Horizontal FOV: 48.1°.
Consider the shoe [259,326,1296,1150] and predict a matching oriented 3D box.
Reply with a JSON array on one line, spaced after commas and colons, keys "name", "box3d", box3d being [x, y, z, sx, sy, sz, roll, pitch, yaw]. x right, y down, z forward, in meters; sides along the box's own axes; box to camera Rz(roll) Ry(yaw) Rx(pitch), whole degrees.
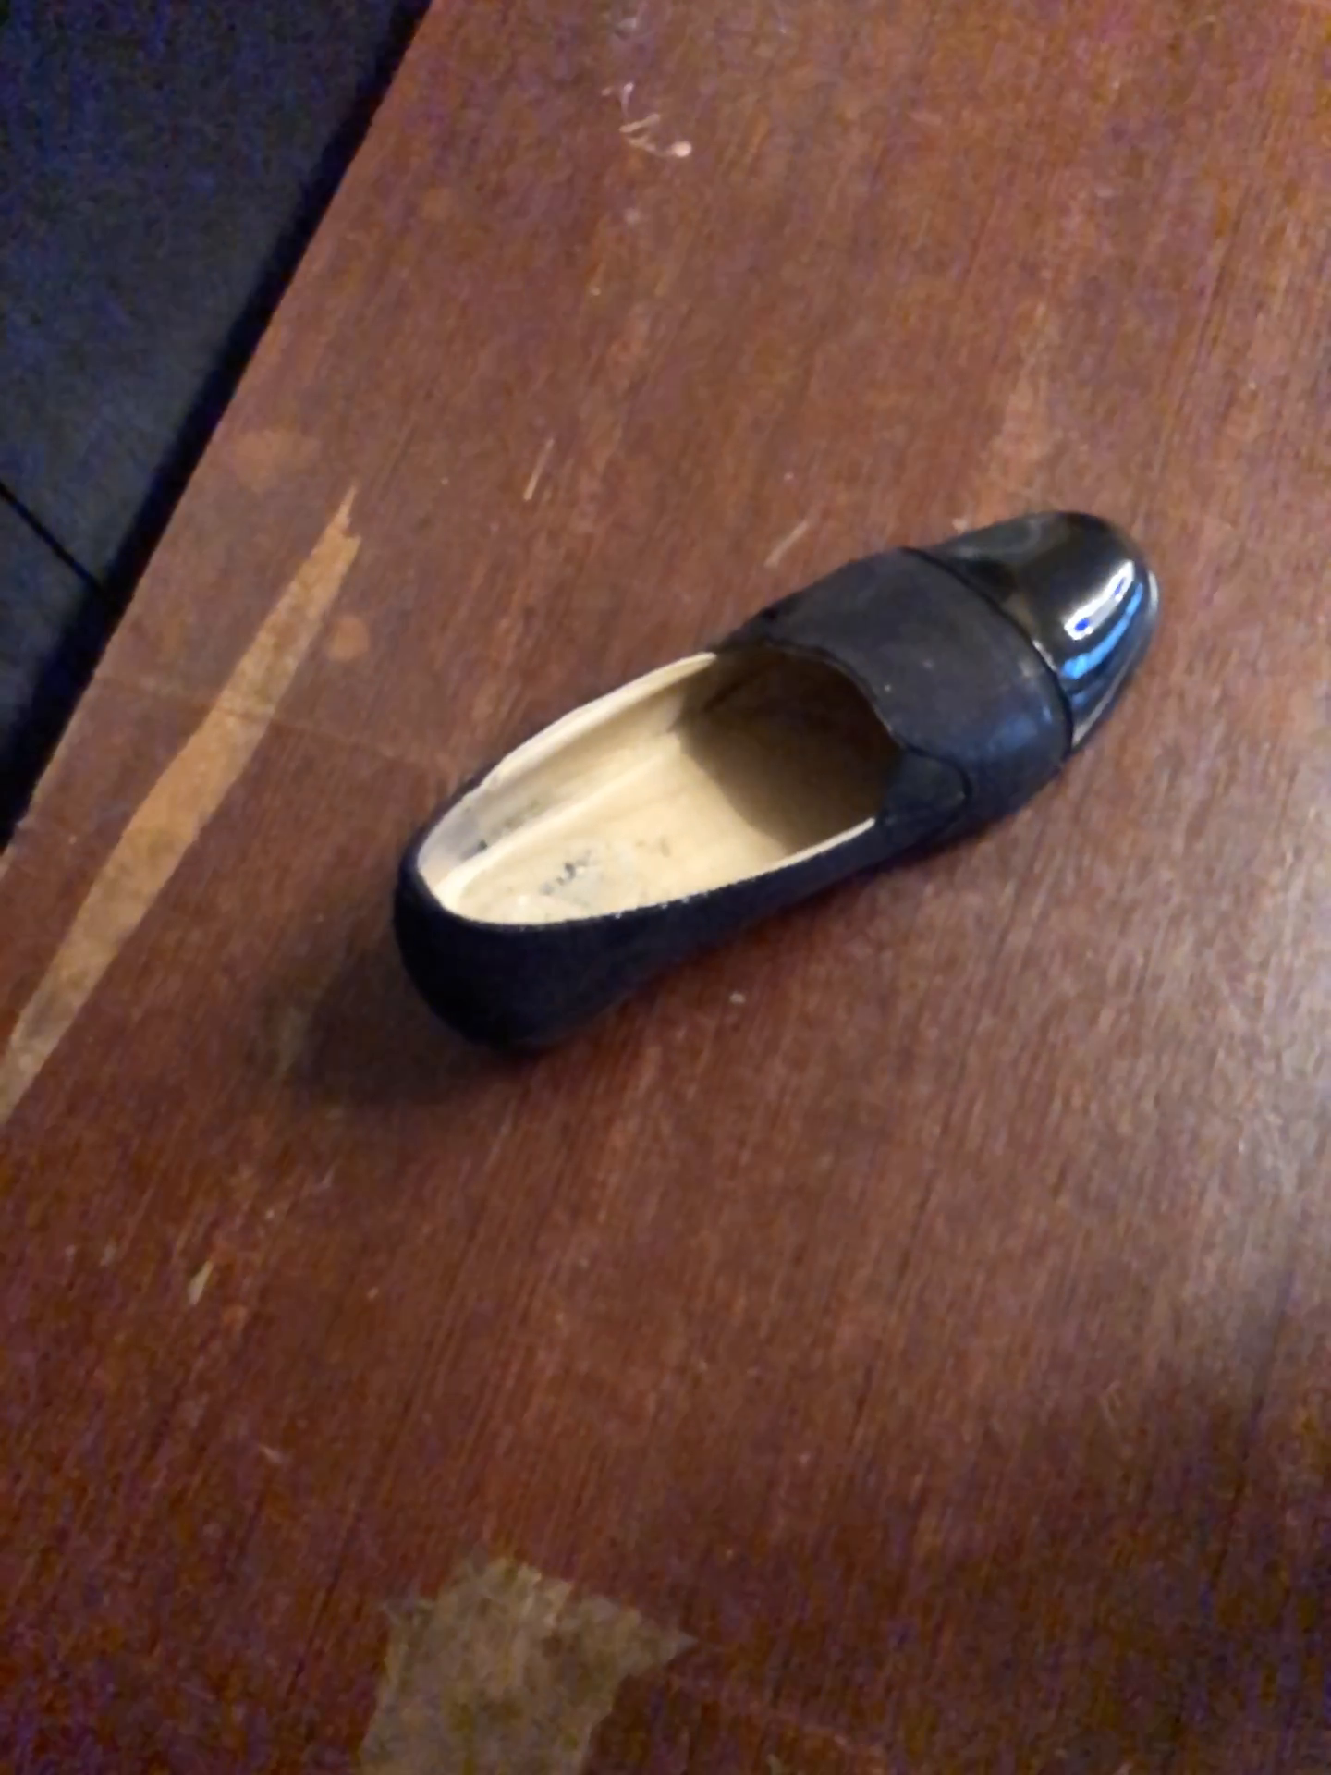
[{"name": "shoe", "box3d": [0.030, -0.039, 0.388, 0.236, 0.070, 0.090, -31, 70, -9]}]
